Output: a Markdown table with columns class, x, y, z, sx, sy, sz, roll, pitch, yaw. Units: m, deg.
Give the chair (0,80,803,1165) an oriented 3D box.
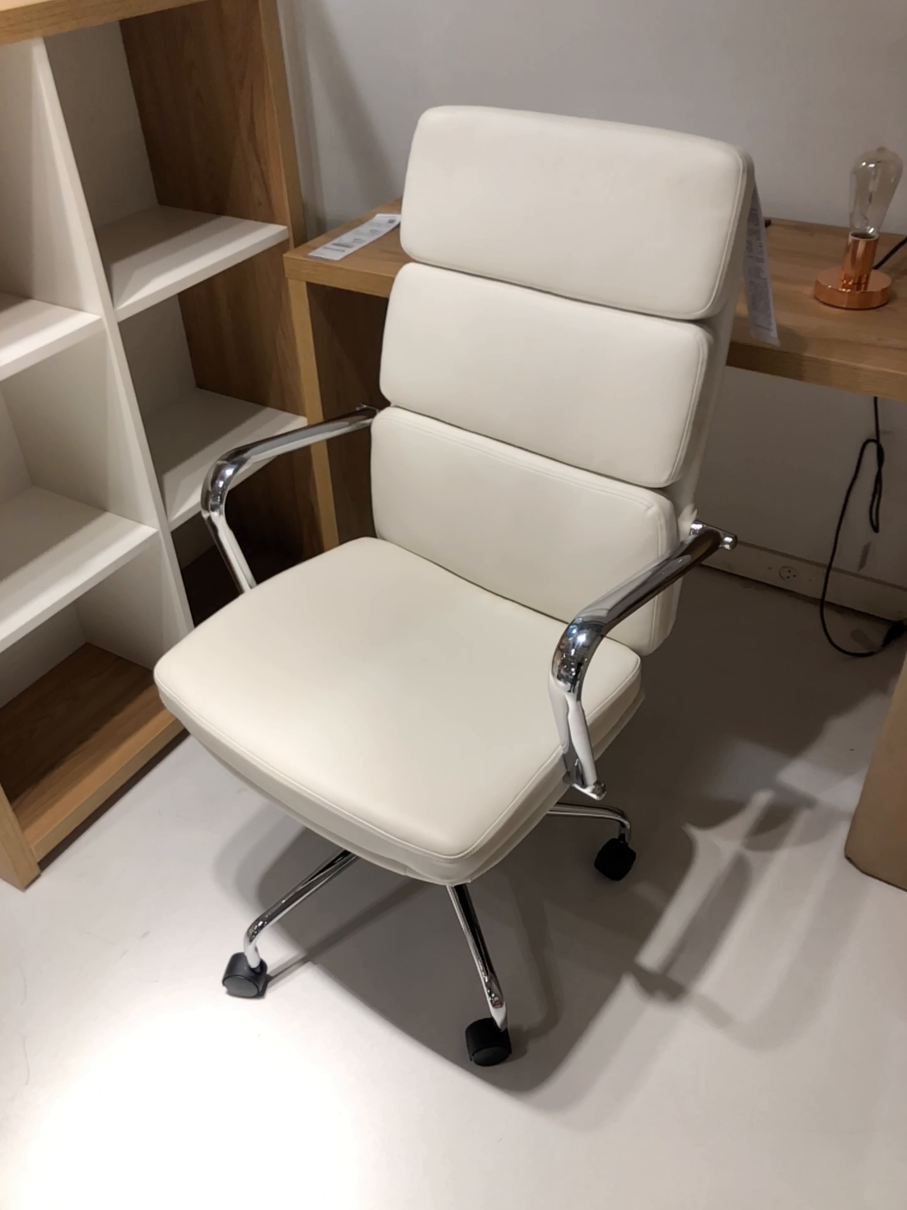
| class | x | y | z | sx | sy | sz | roll | pitch | yaw |
| --- | --- | --- | --- | --- | --- | --- | --- | --- | --- |
| chair | -0.075 | -0.004 | 1.272 | 0.642 | 1.032 | 0.684 | 21 | 44 | 27 |
